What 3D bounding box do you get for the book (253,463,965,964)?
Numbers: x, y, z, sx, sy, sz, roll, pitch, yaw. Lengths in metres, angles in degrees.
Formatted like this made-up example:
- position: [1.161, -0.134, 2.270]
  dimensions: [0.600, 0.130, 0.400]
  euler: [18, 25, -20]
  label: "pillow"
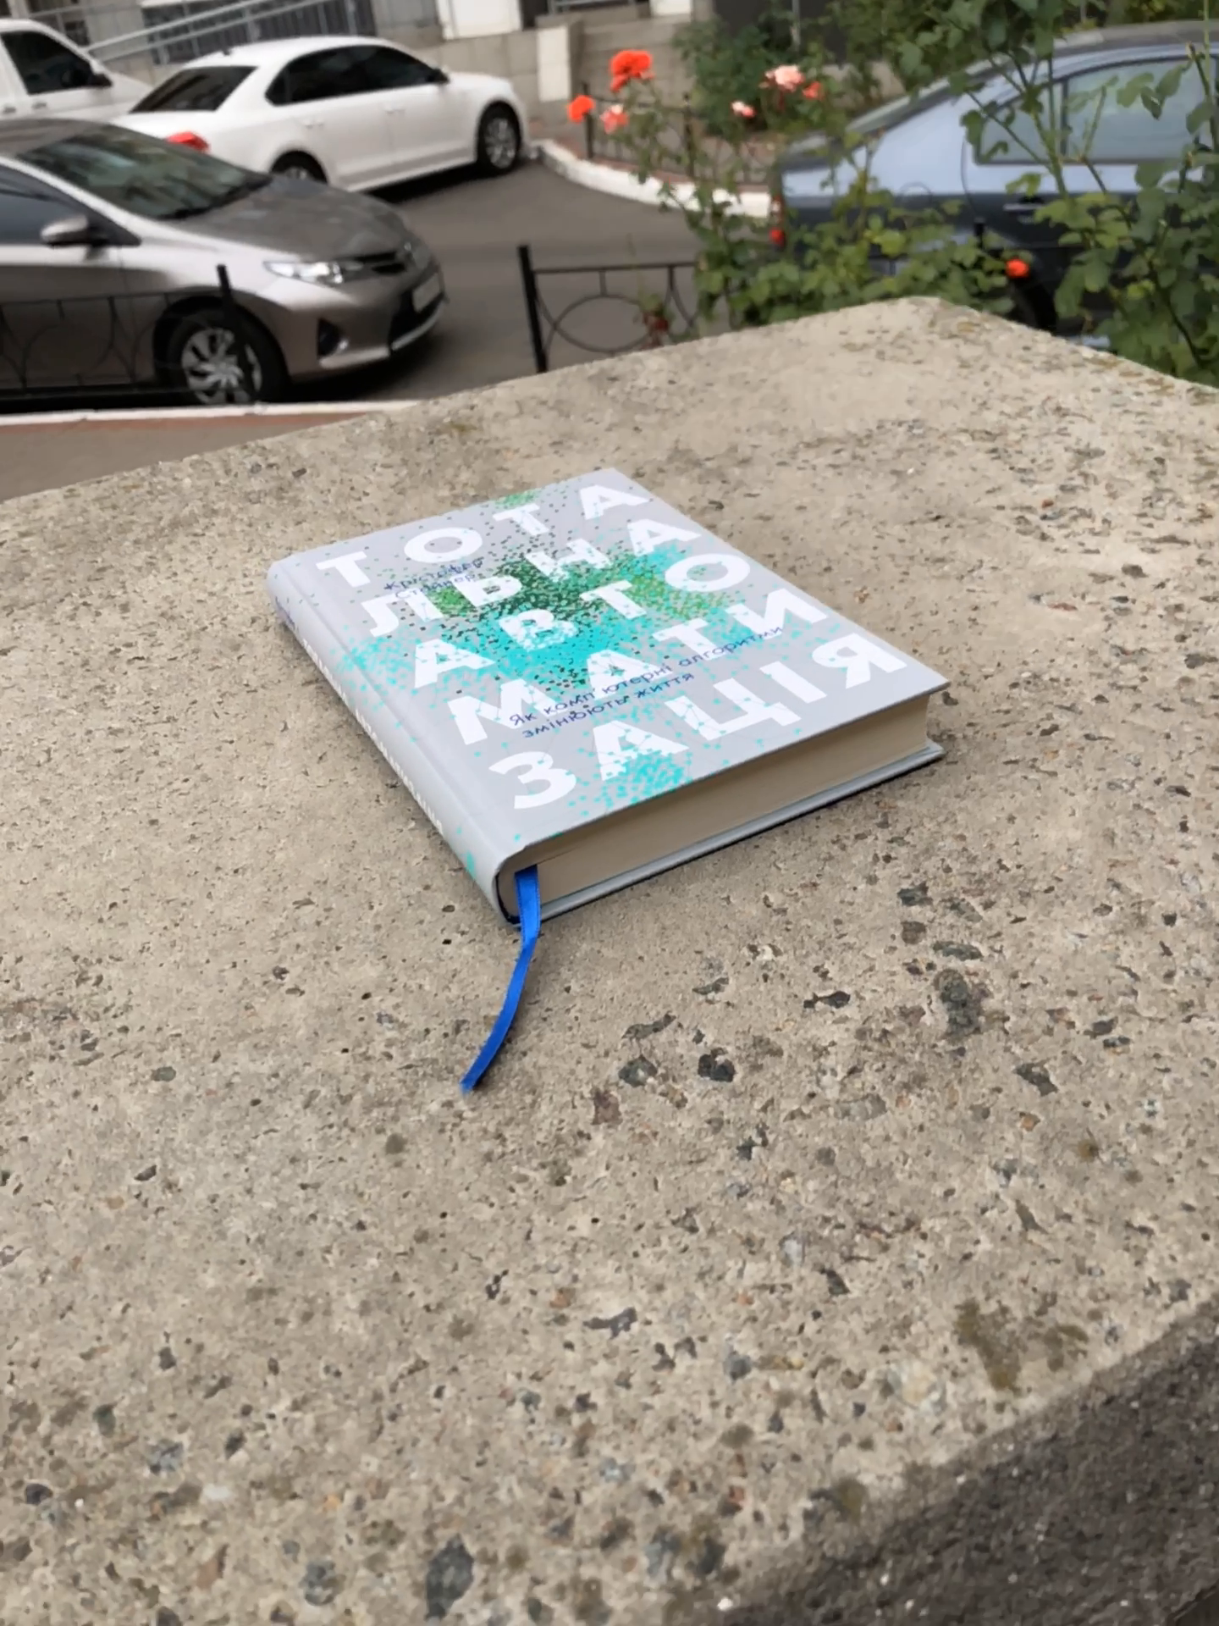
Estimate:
- position: [-0.014, -0.052, 0.453]
  dimensions: [0.150, 0.030, 0.221]
  euler: [-21, 39, -20]
  label: "book"
